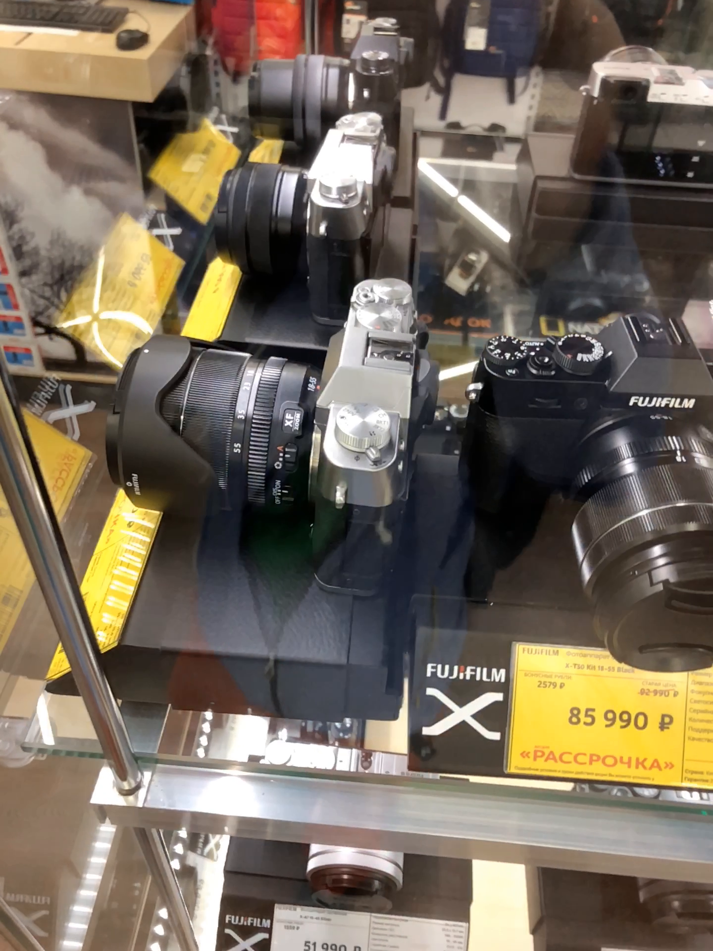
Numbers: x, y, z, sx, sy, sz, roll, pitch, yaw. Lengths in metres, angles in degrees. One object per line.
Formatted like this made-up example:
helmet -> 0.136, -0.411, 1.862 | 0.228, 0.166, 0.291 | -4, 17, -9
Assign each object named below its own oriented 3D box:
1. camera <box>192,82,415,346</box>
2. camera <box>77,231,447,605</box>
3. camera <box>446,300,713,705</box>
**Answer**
camera -> -0.025, -0.156, 0.464 | 0.104, 0.088, 0.136 | 6, 45, 2
camera -> -0.028, -0.027, 0.330 | 0.120, 0.088, 0.121 | 5, 45, 2
camera -> 0.114, 0.007, 0.314 | 0.144, 0.088, 0.123 | 4, 45, 1
